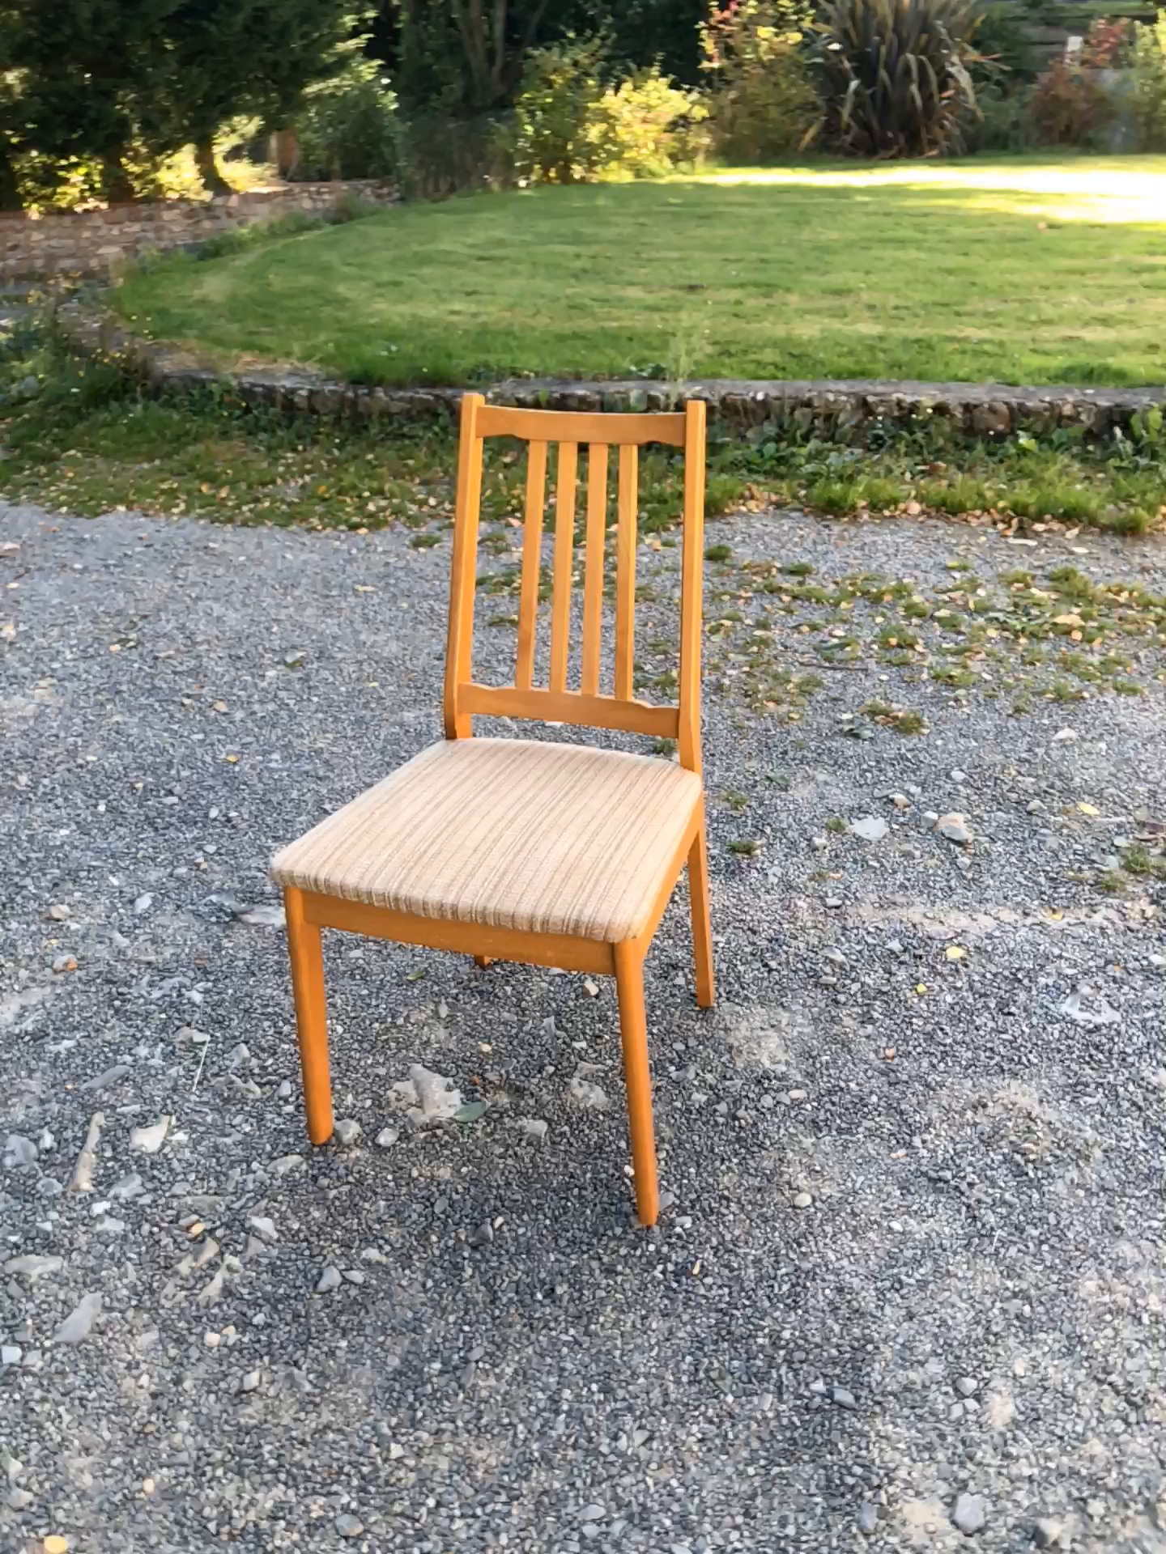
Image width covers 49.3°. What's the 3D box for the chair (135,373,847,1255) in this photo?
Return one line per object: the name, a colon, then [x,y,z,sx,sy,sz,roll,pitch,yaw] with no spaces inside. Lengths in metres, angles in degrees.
chair: [-0.044,0.008,1.602,0.600,0.845,0.594,8,32,17]
